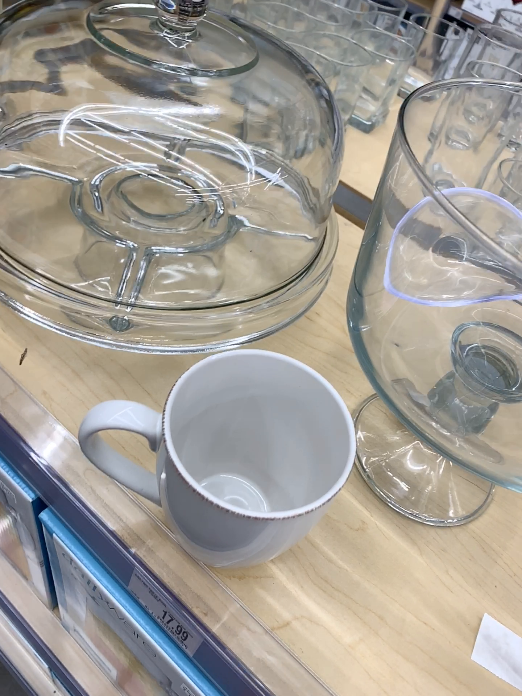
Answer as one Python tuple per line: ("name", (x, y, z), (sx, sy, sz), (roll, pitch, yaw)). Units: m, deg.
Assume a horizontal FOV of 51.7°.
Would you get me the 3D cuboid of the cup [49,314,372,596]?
("cup", (-0.026, 0.060, 0.281), (0.130, 0.094, 0.096), (9, 50, -8))
